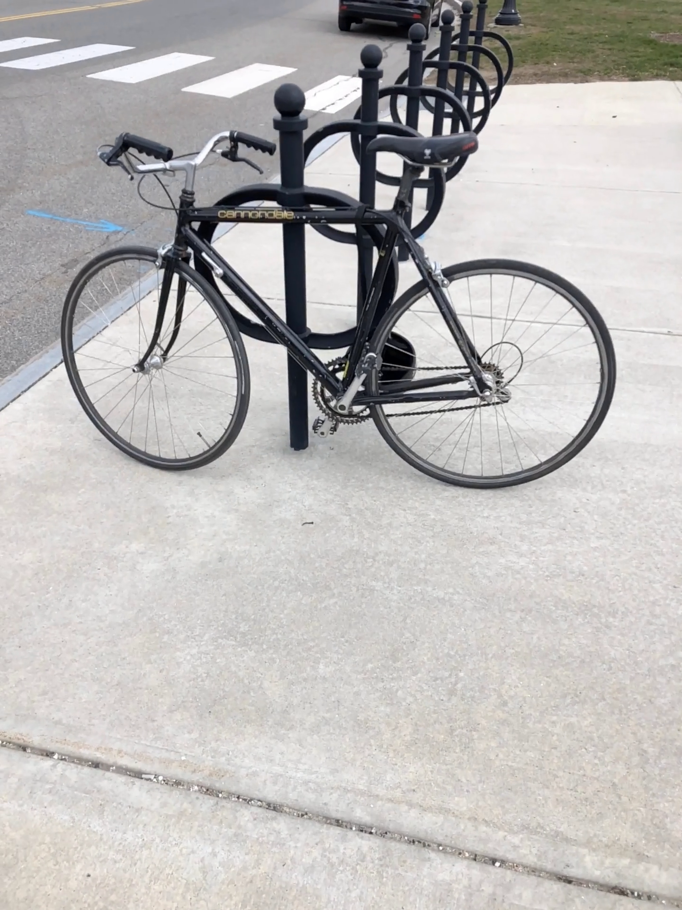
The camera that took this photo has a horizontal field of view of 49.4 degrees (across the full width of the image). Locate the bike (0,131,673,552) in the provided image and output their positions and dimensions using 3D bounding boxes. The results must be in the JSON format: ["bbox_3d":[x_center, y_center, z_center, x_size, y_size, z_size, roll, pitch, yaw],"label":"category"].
[{"bbox_3d":[-0.069,-0.293,1.791,1.382,0.805,0.488,5,35,11],"label":"bike"}]
